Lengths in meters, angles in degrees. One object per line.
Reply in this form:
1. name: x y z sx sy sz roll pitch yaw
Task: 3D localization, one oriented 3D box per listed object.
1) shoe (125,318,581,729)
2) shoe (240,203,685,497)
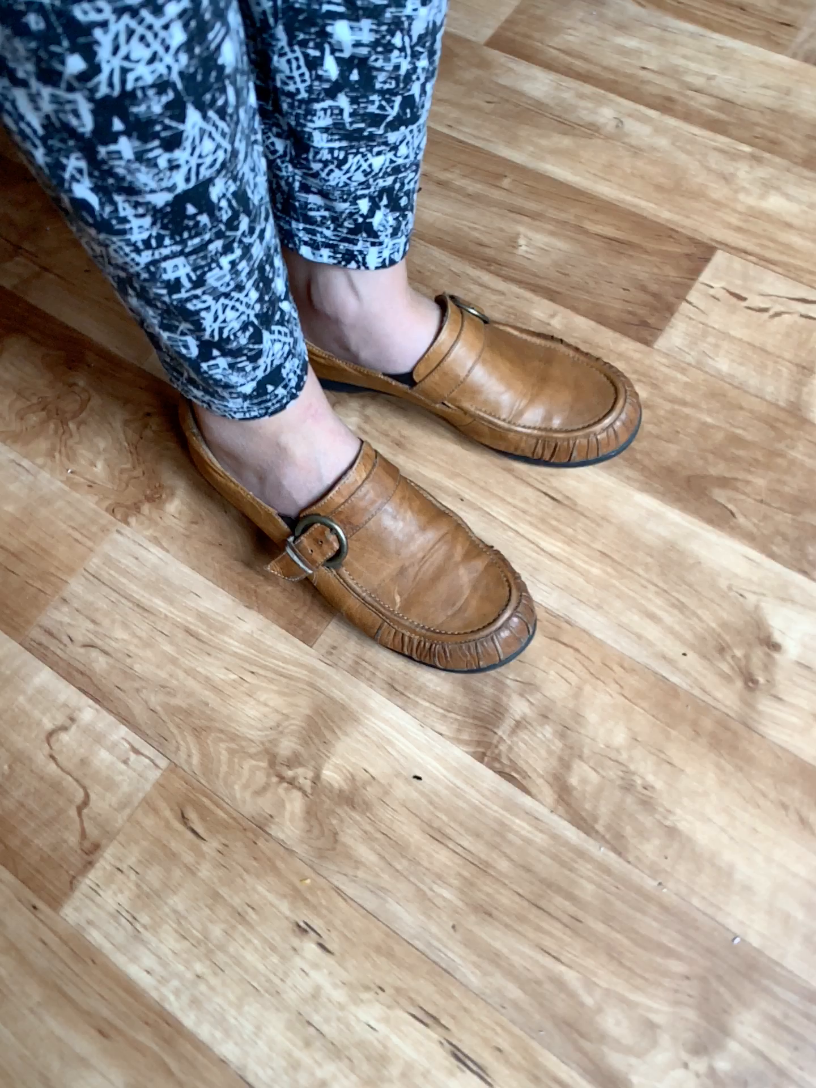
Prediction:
1. shoe: -0.026 -0.012 0.386 0.190 0.070 0.080 36 74 18
2. shoe: 0.027 -0.097 0.415 0.190 0.070 0.080 15 69 12
